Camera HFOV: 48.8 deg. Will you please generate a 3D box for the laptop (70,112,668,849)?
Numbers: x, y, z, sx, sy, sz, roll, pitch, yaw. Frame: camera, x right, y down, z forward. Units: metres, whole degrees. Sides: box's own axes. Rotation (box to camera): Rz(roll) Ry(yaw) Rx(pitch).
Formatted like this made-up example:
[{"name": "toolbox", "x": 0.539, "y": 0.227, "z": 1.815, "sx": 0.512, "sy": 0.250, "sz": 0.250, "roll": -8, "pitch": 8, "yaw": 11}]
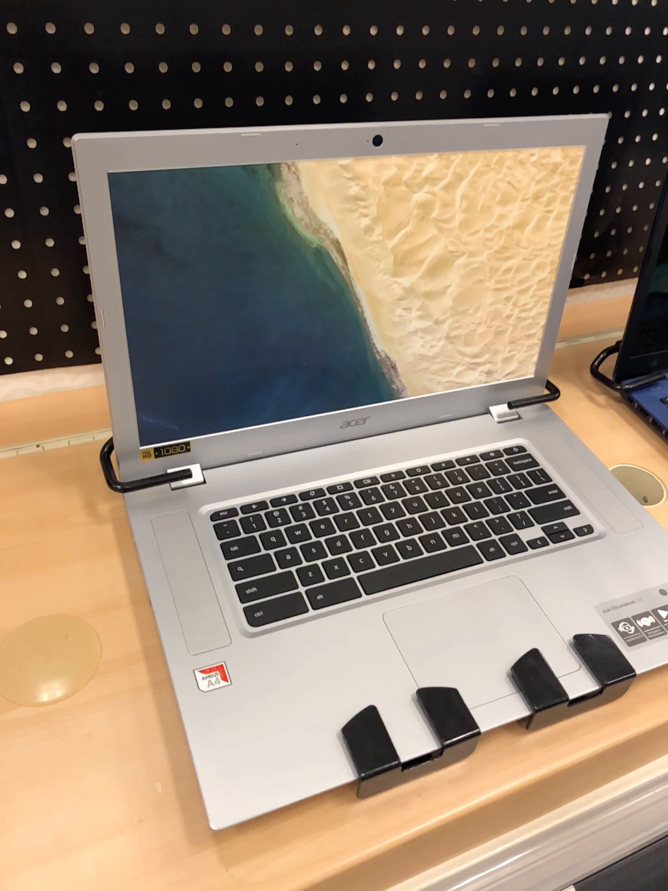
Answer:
[{"name": "laptop", "x": 0.066, "y": -0.026, "z": 0.461, "sx": 0.372, "sy": 0.246, "sz": 0.286, "roll": -11, "pitch": 40, "yaw": -20}]
